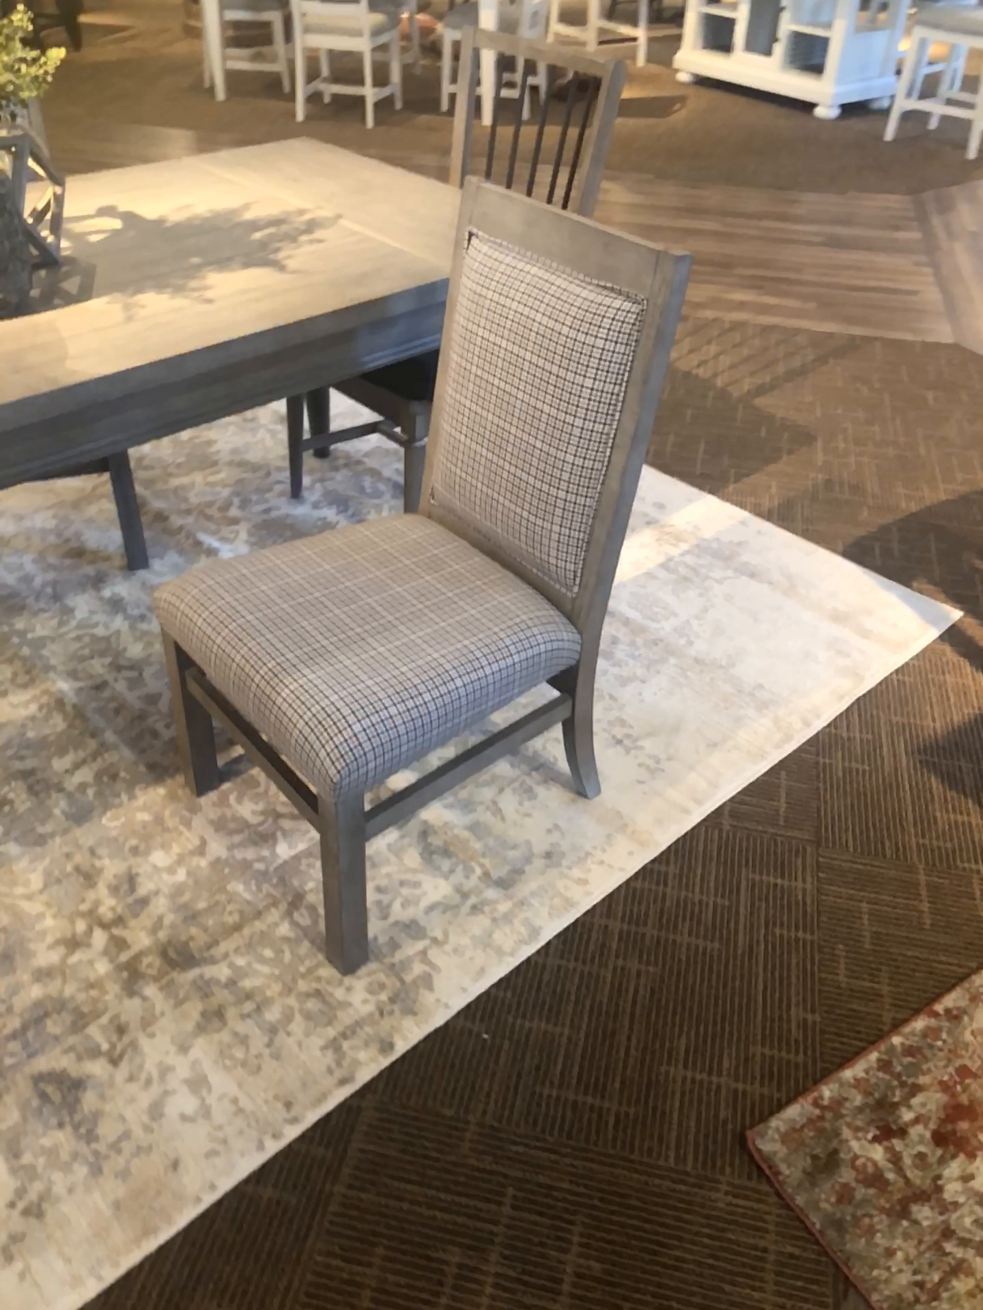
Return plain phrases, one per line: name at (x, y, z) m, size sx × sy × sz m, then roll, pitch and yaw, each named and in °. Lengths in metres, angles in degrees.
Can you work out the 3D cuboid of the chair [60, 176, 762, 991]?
chair at (-0.104, -0.125, 1.542) m, size 0.662 × 0.866 × 0.511 m, roll -25°, pitch 45°, yaw -31°
